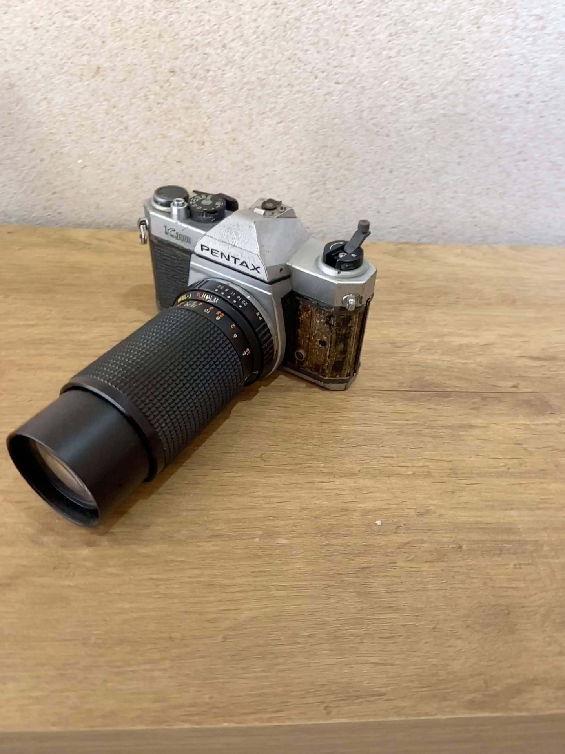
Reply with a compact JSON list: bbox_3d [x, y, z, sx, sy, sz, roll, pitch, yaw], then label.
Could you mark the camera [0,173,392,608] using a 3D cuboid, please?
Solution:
[{"bbox_3d":[-0.056,-0.017,0.289,0.150,0.079,0.181,22,43,20],"label":"camera"}]
